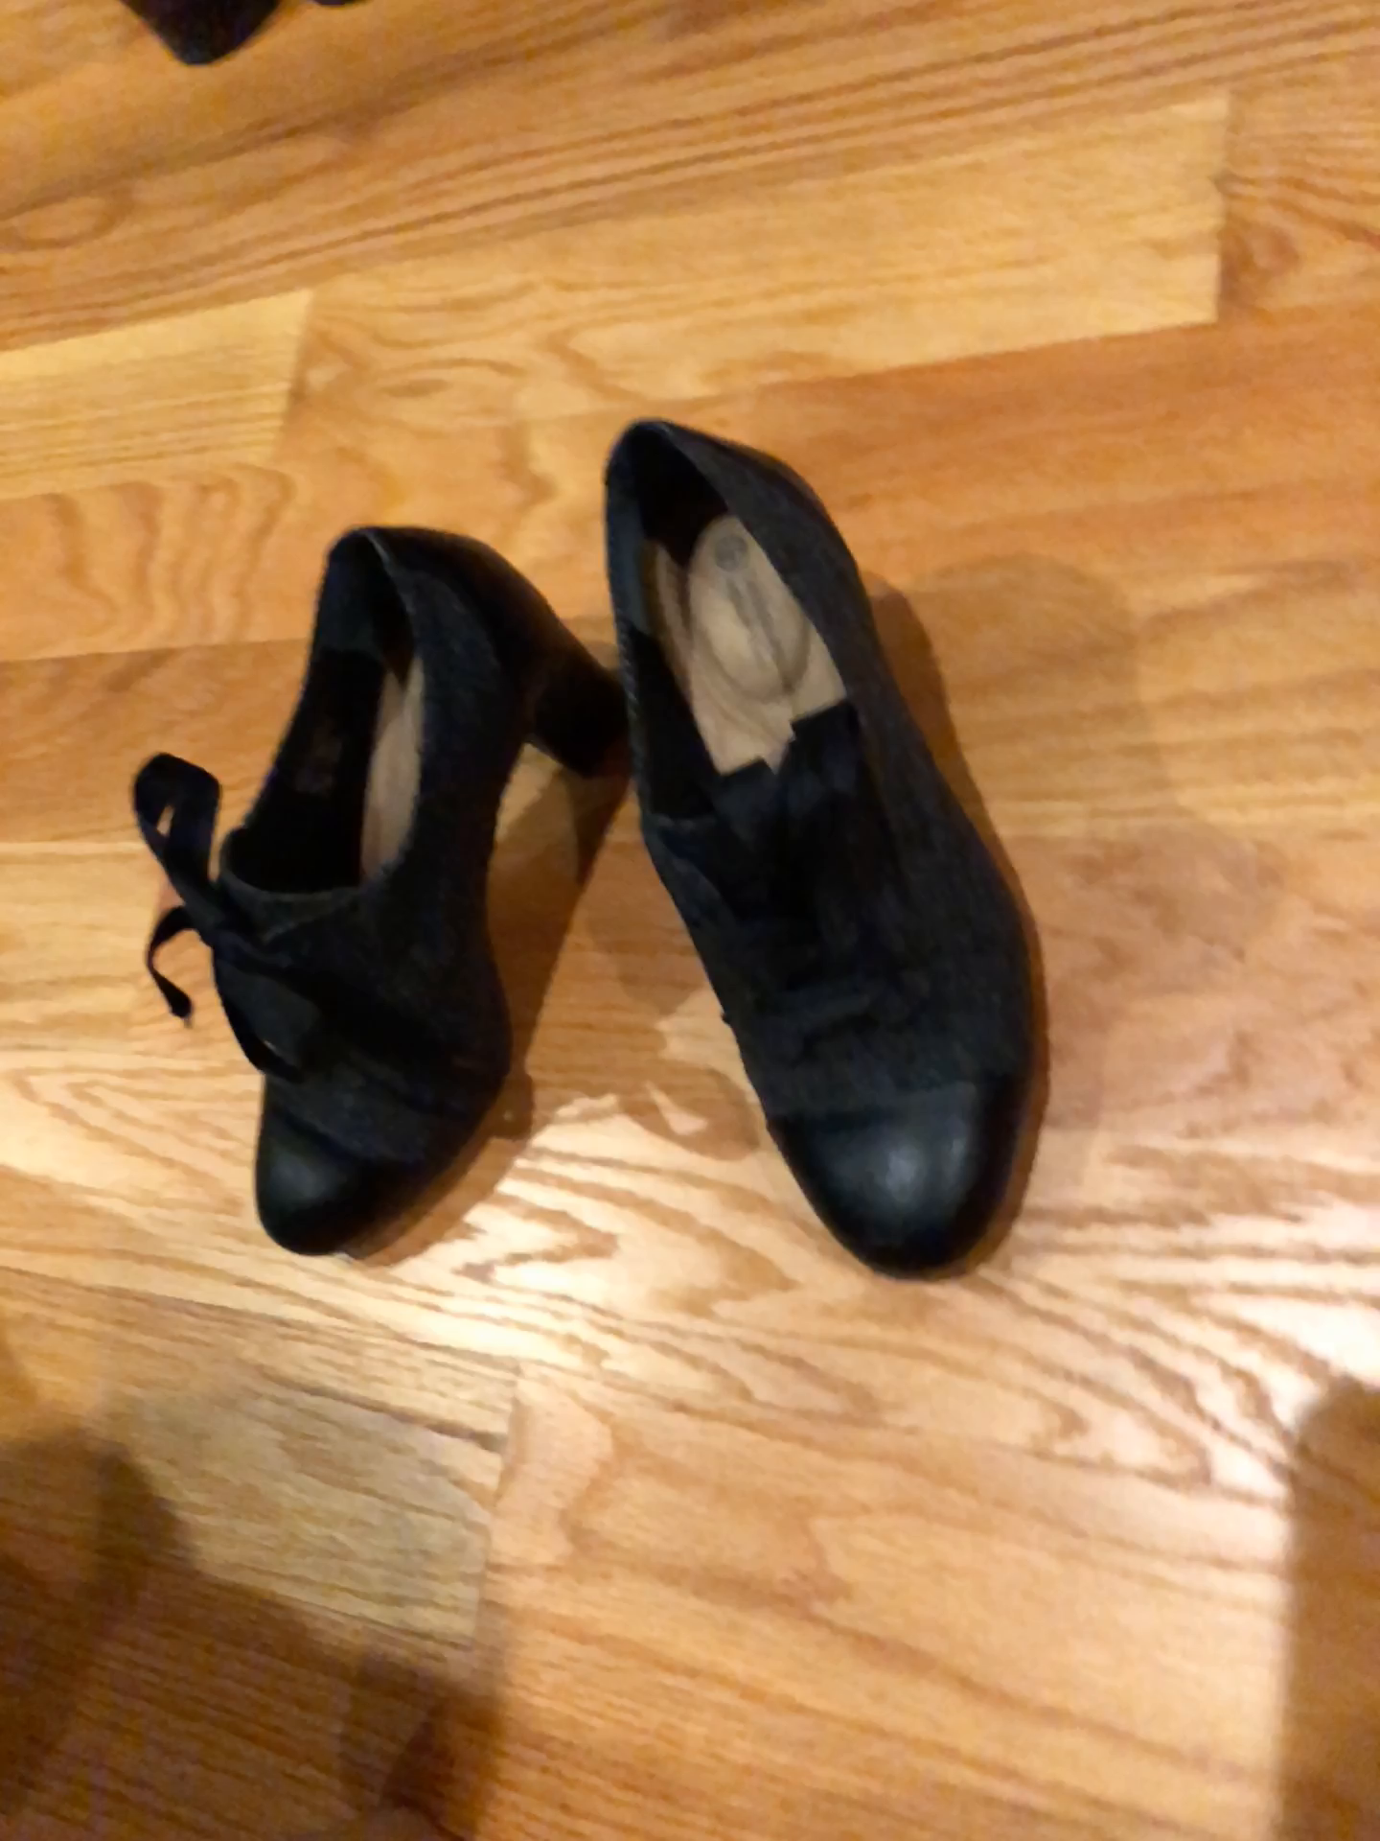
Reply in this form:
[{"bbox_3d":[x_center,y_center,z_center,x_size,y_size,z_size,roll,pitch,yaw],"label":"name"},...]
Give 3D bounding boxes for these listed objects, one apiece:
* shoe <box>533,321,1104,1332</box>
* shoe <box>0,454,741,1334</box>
[{"bbox_3d":[0.033,-0.014,0.402,0.088,0.125,0.223,-14,68,23],"label":"shoe"},{"bbox_3d":[-0.097,-0.002,0.464,0.093,0.125,0.223,25,86,31],"label":"shoe"}]
